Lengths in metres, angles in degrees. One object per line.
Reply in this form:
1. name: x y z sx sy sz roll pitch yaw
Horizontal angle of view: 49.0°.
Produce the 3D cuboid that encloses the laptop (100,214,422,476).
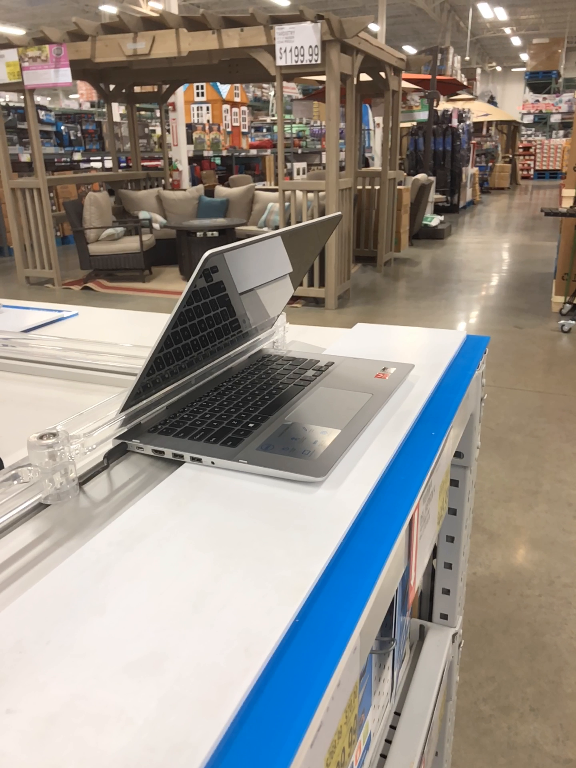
1. laptop: -0.003 -0.070 0.676 0.210 0.183 0.308 7 22 23
